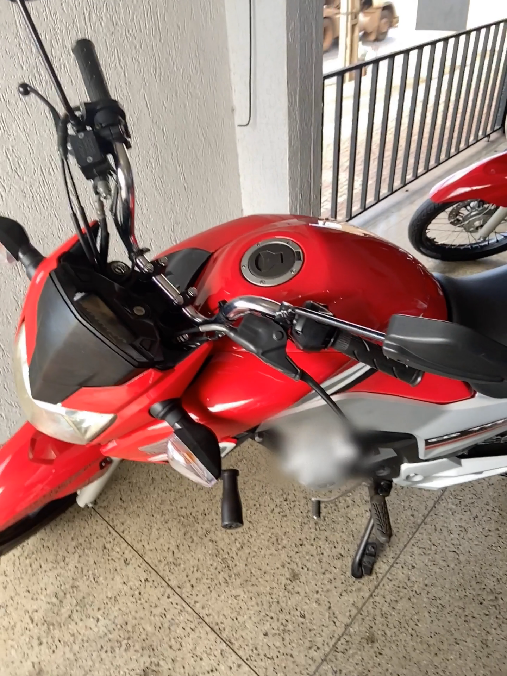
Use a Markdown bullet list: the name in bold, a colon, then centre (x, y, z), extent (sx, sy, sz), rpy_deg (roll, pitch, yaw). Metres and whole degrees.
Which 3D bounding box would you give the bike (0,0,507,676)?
- **bike**: centre (0.240, 0.227, 1.093), extent (1.991, 1.421, 0.872), rpy_deg (-11, 36, -5)
